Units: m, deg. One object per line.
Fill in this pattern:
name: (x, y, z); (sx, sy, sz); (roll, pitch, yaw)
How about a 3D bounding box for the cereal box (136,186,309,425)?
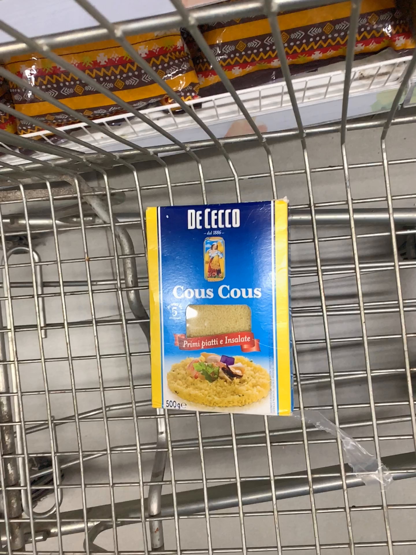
cereal box: (0.013, 0.020, 0.324); (0.120, 0.050, 0.160); (-1, 91, 14)
